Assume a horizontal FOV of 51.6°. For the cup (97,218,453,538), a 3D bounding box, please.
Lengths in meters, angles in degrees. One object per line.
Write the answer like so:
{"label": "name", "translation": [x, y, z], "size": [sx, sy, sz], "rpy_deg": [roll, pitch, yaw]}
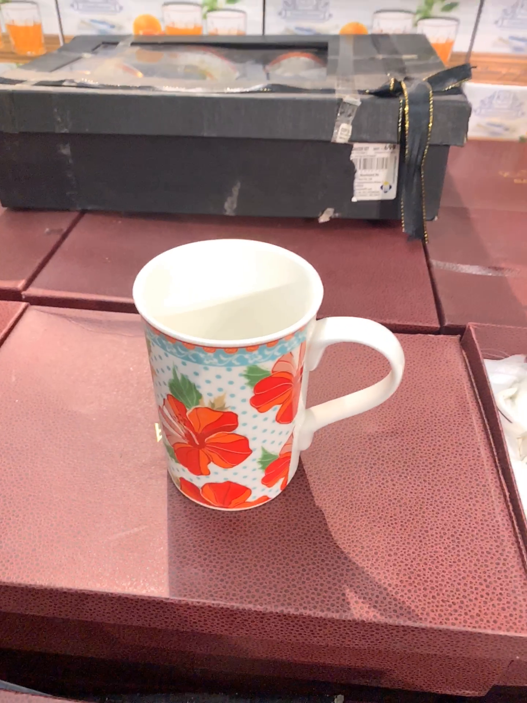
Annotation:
{"label": "cup", "translation": [0.006, 0.012, 0.249], "size": [0.120, 0.110, 0.080], "rpy_deg": [5, 40, 4]}
